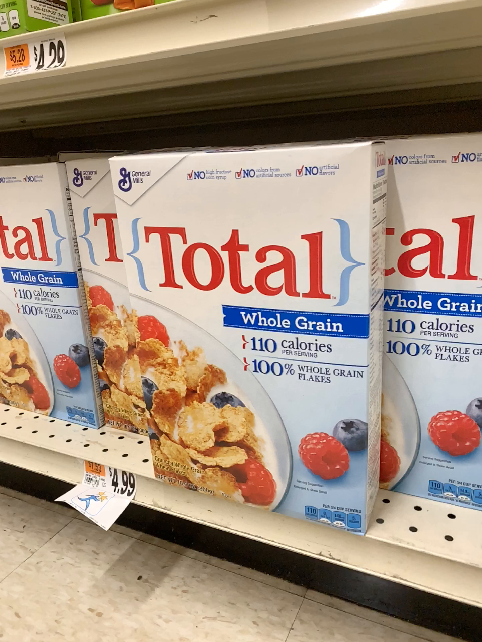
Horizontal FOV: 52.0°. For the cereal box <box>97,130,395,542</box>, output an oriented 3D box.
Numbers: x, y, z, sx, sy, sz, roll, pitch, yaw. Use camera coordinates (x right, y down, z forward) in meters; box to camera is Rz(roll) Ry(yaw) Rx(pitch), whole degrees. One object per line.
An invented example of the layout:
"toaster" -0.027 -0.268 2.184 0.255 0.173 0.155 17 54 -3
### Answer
"cereal box" 0.006 0.011 0.378 0.200 0.279 0.050 6 21 26
